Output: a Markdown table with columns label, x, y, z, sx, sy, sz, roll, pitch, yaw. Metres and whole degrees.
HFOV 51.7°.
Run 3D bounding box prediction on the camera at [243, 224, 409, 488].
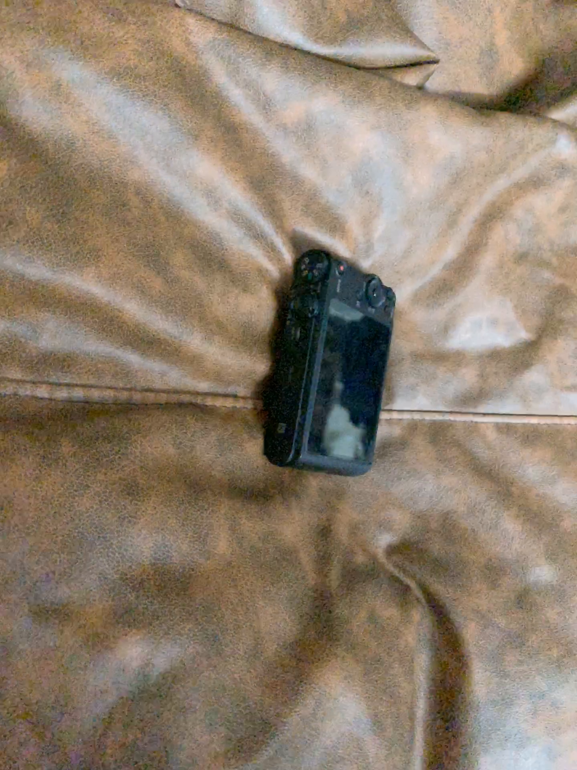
| label | x | y | z | sx | sy | sz | roll | pitch | yaw |
| --- | --- | --- | --- | --- | --- | --- | --- | --- | --- |
| camera | 0.019 | -0.009 | 0.260 | 0.060 | 0.024 | 0.100 | 15 | 79 | -40 |
